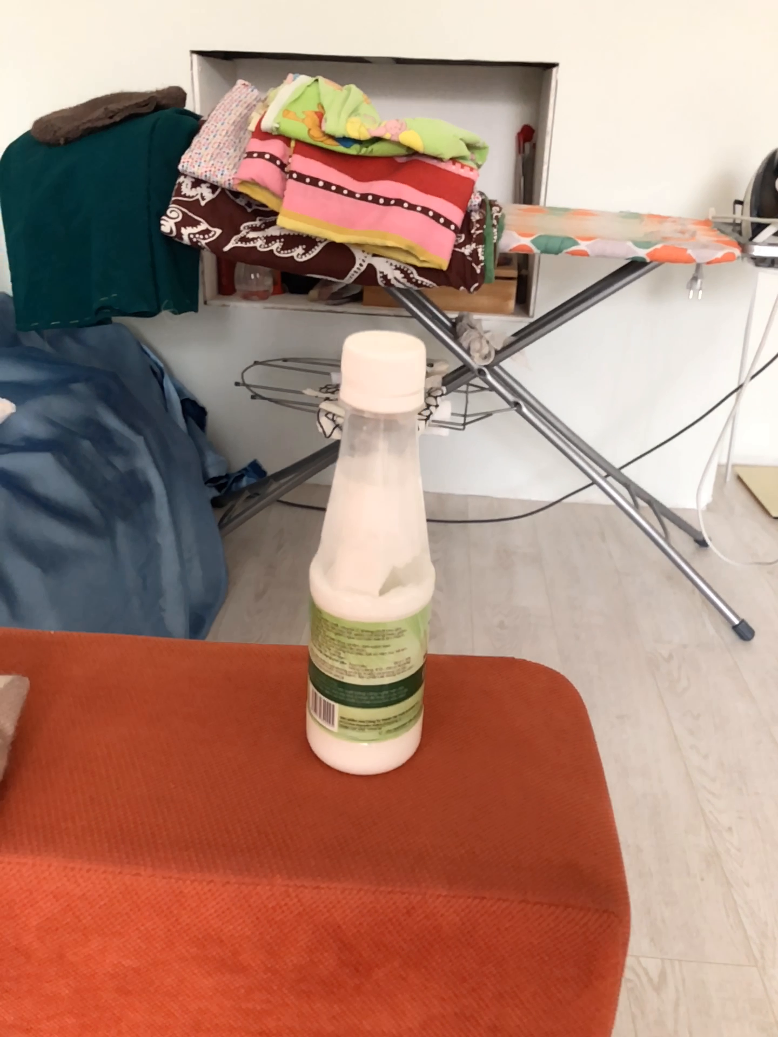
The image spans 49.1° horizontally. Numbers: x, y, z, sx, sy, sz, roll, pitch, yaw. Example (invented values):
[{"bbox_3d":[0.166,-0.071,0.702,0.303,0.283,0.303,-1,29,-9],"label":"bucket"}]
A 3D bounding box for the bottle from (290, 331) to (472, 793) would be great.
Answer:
[{"bbox_3d":[-0.008,0.020,0.348,0.060,0.179,0.060,2,25,-1],"label":"bottle"}]
